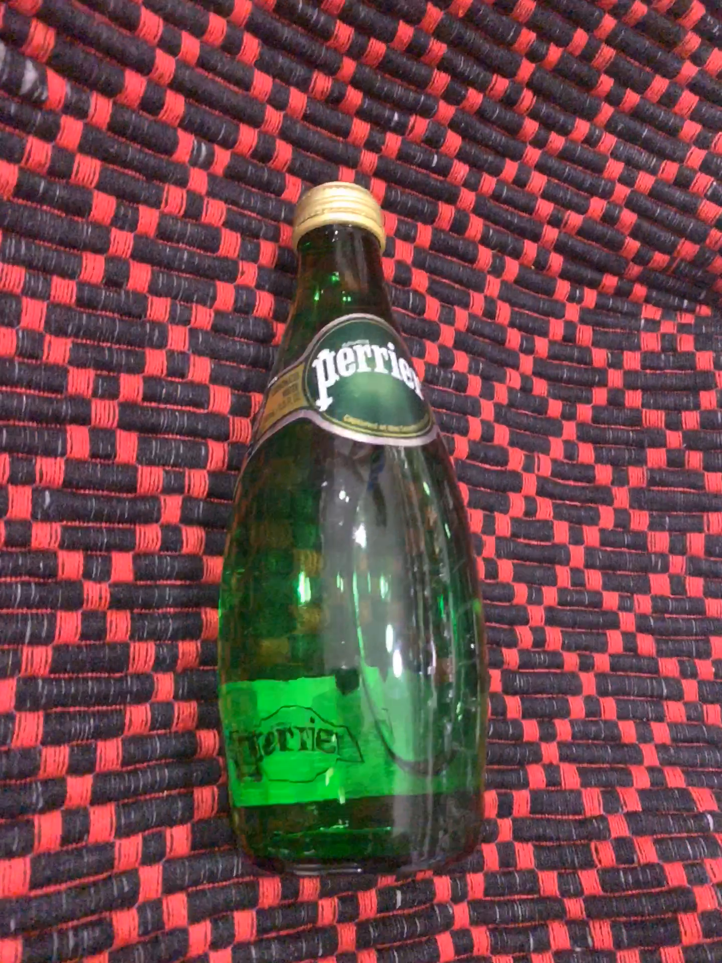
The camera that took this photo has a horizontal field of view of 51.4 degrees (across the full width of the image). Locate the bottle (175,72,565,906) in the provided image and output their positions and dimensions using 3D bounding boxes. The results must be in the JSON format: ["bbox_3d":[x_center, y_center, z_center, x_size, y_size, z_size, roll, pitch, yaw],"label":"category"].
[{"bbox_3d":[-0.005,0.000,0.200,0.070,0.070,0.180,5,73,-21],"label":"bottle"}]
